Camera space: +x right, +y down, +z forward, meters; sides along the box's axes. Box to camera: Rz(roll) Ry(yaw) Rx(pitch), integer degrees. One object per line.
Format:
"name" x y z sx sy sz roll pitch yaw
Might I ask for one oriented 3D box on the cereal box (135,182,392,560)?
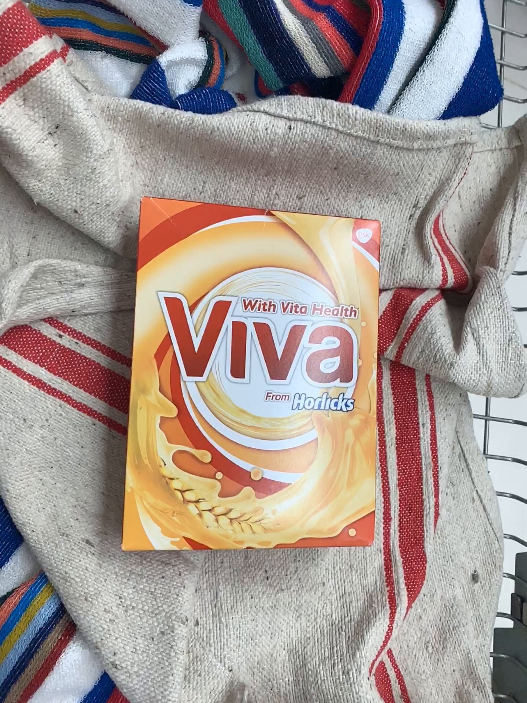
"cereal box" -0.002 0.014 0.338 0.140 0.070 0.200 3 85 -14
